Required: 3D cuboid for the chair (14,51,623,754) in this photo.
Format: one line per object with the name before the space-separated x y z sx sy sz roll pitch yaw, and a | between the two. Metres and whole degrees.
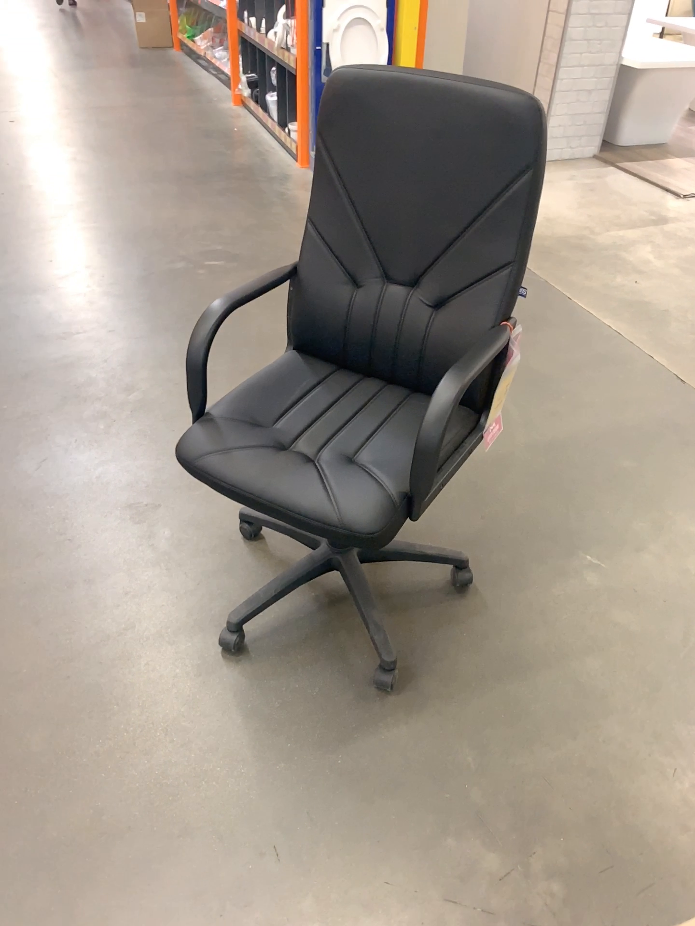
chair | -0.002 -0.168 1.499 0.671 1.085 0.813 22 42 23
